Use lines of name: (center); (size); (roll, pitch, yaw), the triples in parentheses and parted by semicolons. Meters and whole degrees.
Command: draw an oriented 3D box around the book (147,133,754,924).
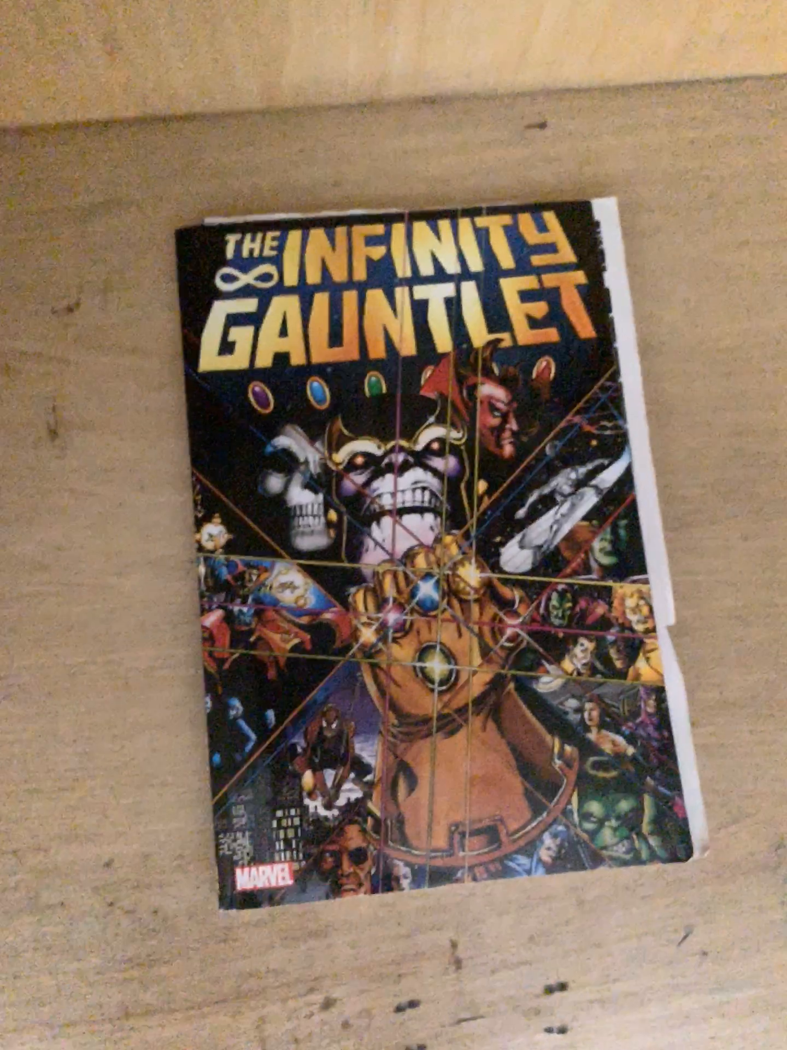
book: (0.013, -0.008, 0.309); (0.190, 0.030, 0.270); (-5, 81, -2)
